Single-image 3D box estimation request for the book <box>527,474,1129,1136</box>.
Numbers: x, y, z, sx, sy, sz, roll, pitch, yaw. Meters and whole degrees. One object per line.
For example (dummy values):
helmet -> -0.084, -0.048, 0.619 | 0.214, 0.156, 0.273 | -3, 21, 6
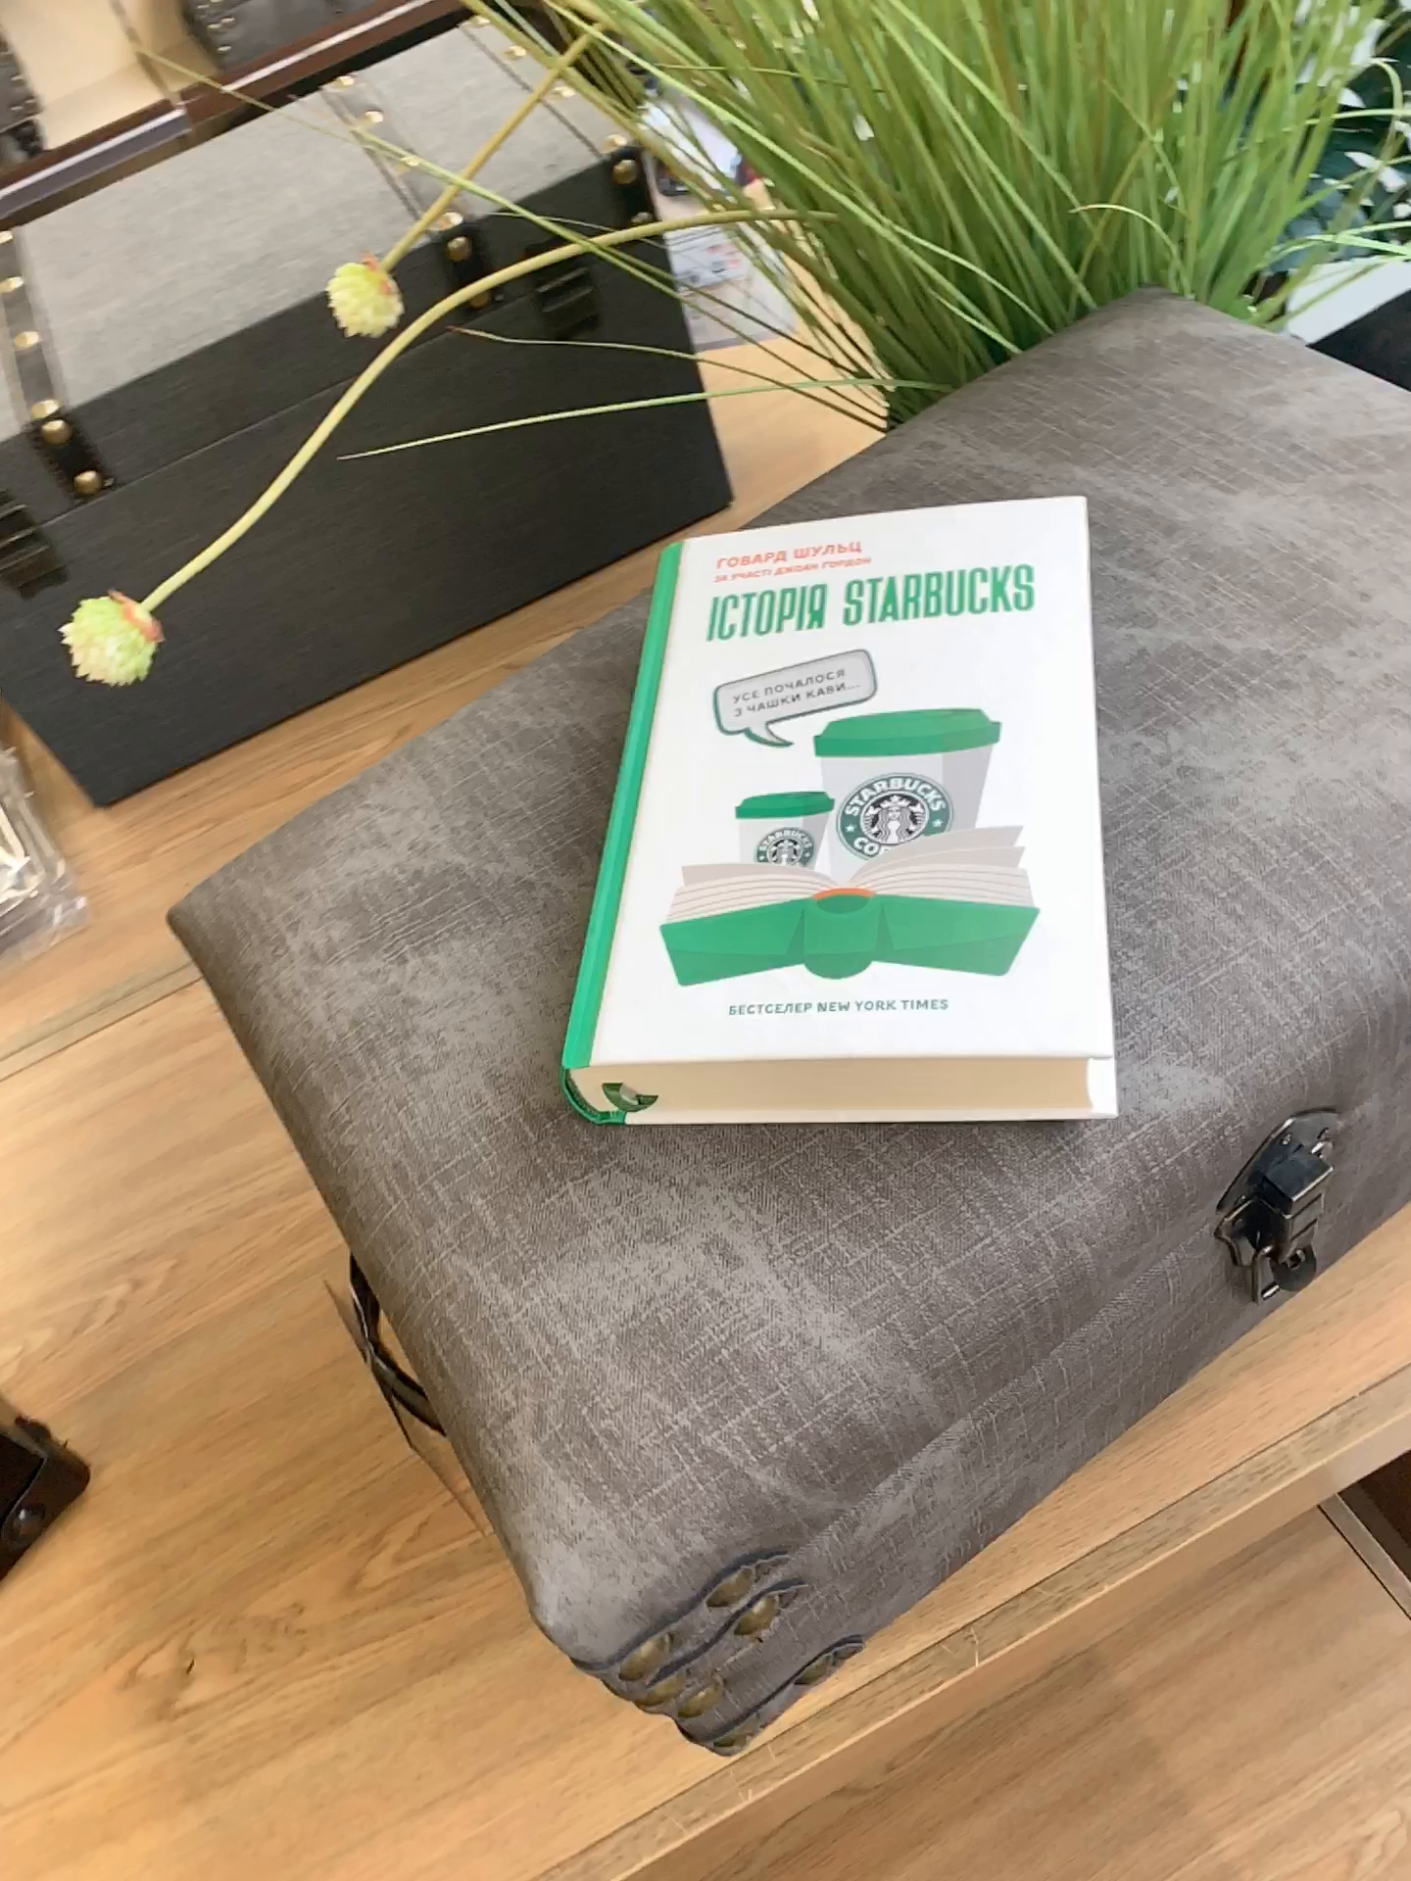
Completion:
book -> 0.046, -0.051, 0.465 | 0.160, 0.040, 0.235 | -3, 52, 15
